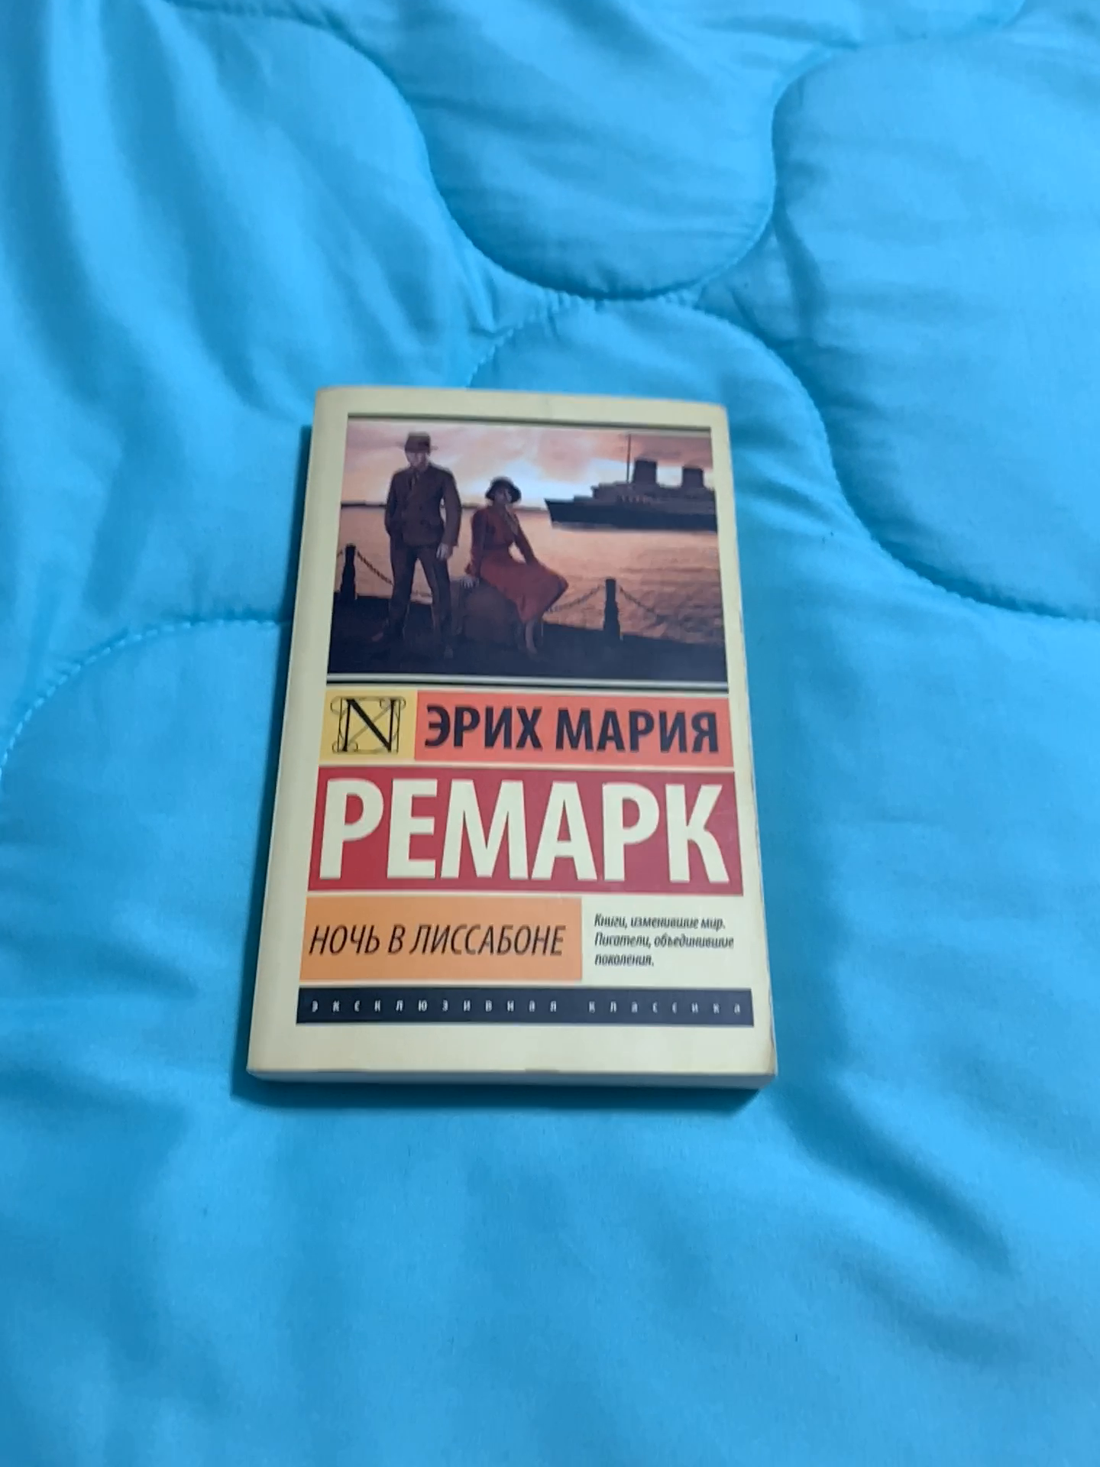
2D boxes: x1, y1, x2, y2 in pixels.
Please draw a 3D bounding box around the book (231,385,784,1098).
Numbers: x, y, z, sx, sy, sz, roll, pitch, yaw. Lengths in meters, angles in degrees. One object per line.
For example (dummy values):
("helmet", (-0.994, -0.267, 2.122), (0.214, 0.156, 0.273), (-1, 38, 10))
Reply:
("book", (-0.008, -0.004, 0.272), (0.112, 0.020, 0.173), (2, 68, -4))
